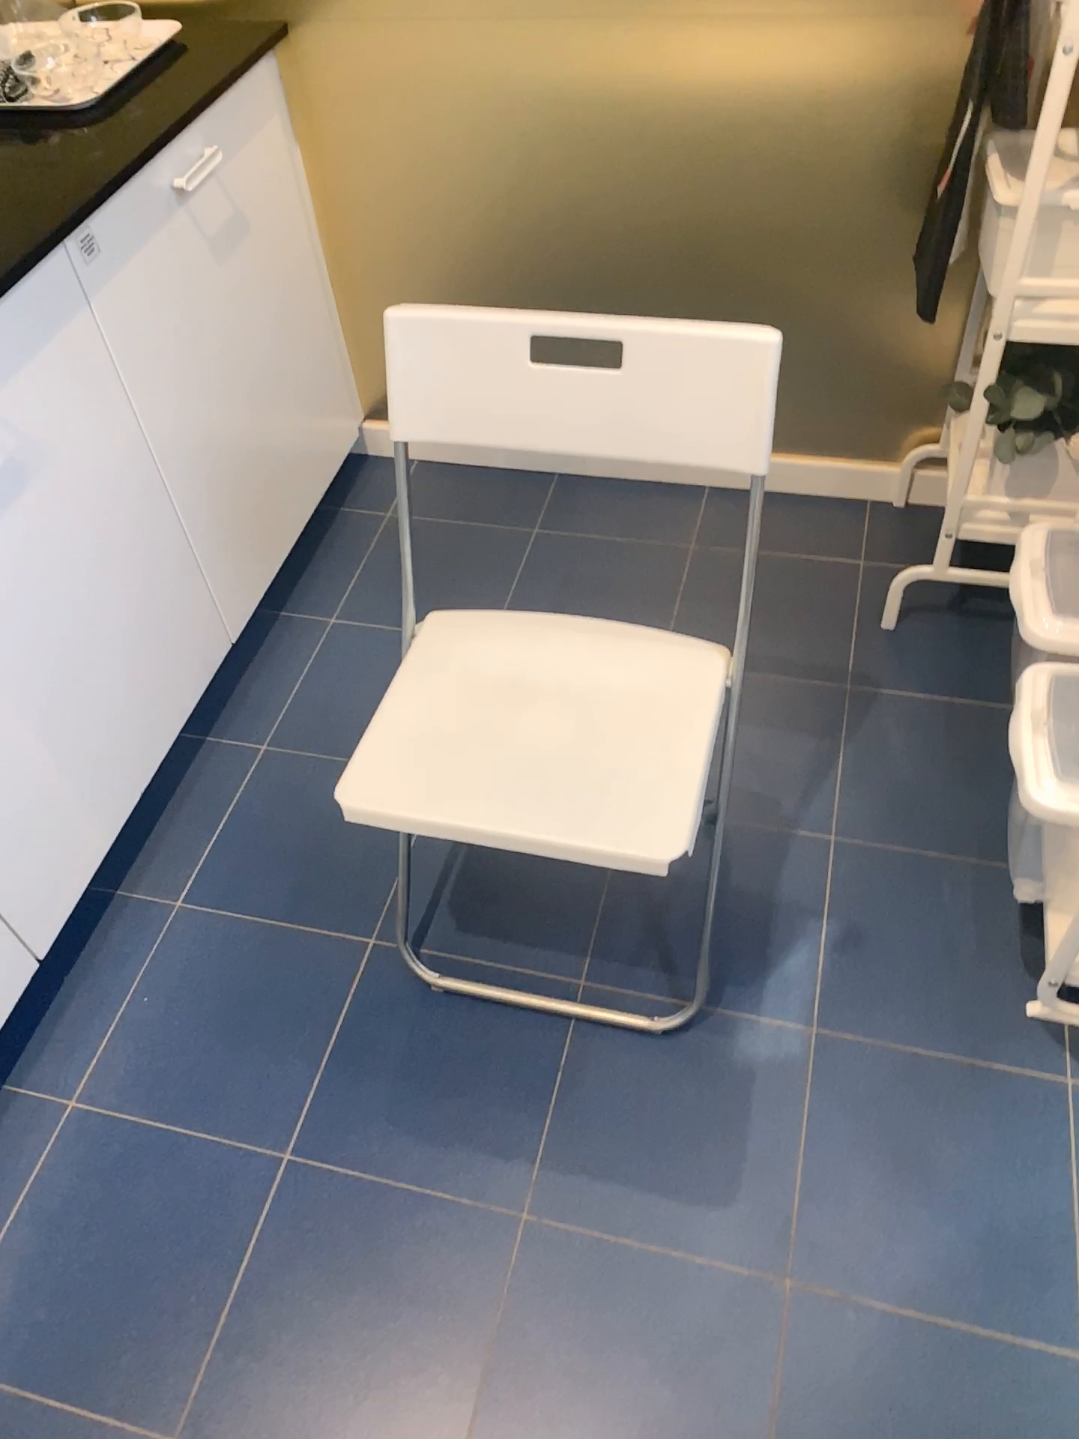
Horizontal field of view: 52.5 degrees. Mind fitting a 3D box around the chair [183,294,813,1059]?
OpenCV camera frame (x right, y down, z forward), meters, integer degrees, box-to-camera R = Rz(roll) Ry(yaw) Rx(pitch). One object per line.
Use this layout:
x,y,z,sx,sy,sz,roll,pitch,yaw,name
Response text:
0.017,-0.025,1.247,0.460,0.708,0.451,8,50,14,chair
